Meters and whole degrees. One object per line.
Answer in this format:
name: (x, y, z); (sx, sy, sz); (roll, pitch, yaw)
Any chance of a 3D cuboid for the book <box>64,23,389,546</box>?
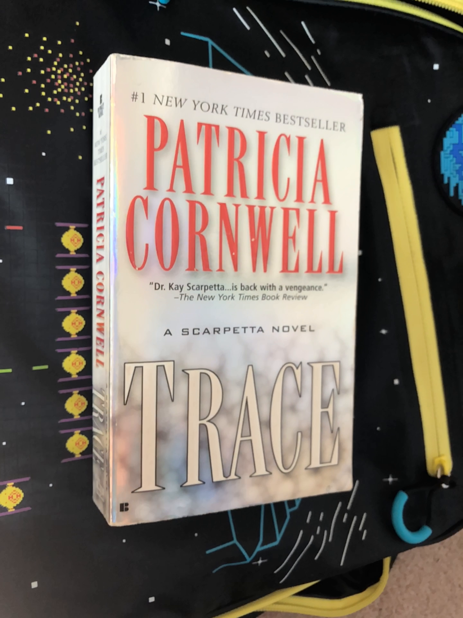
book: (-0.003, -0.007, 0.208); (0.120, 0.040, 0.170); (-1, 94, -19)
